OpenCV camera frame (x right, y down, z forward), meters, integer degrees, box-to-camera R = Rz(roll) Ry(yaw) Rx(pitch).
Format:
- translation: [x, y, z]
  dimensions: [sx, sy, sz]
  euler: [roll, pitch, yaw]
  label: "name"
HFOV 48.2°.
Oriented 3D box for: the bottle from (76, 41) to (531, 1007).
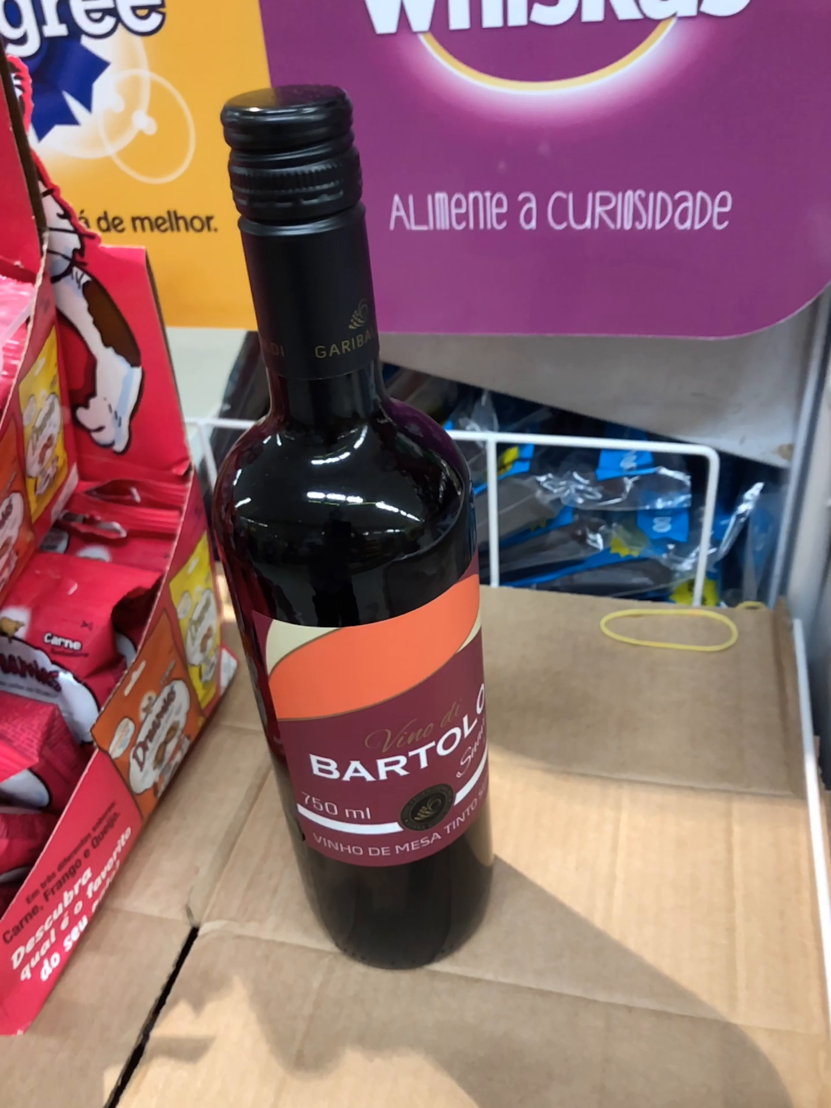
- translation: [-0.016, 0.019, 0.286]
  dimensions: [0.080, 0.298, 0.060]
  euler: [-18, 38, -16]
  label: "bottle"
